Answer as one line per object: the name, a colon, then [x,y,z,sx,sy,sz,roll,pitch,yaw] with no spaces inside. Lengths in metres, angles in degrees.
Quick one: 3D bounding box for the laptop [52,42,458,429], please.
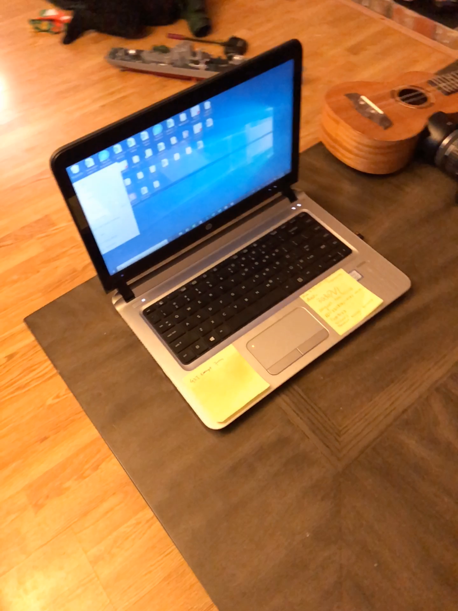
laptop: [0.034,-0.087,0.574,0.317,0.217,0.247,-33,61,-19]
